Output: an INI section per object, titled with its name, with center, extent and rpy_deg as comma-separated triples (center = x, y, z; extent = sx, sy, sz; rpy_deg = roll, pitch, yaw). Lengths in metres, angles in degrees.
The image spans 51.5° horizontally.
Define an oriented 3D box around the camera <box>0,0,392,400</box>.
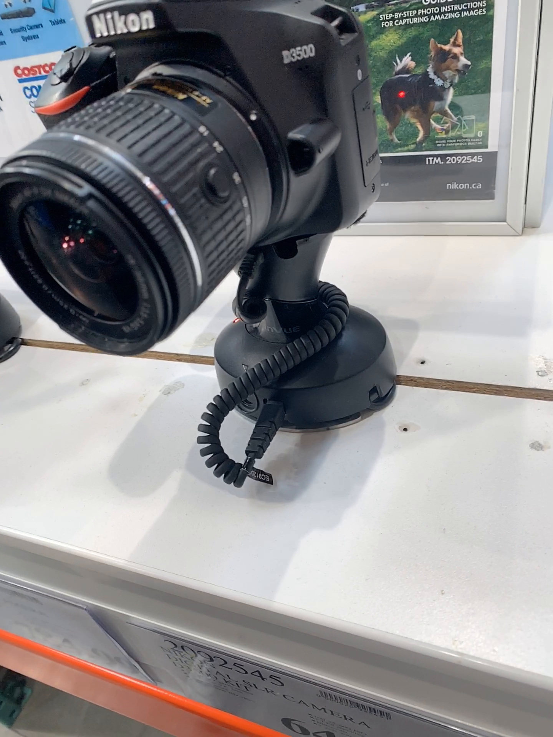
[camera]
center = -0.039, -0.075, 0.191
extent = 0.117, 0.099, 0.121
rpy_deg = 8, 45, 26
